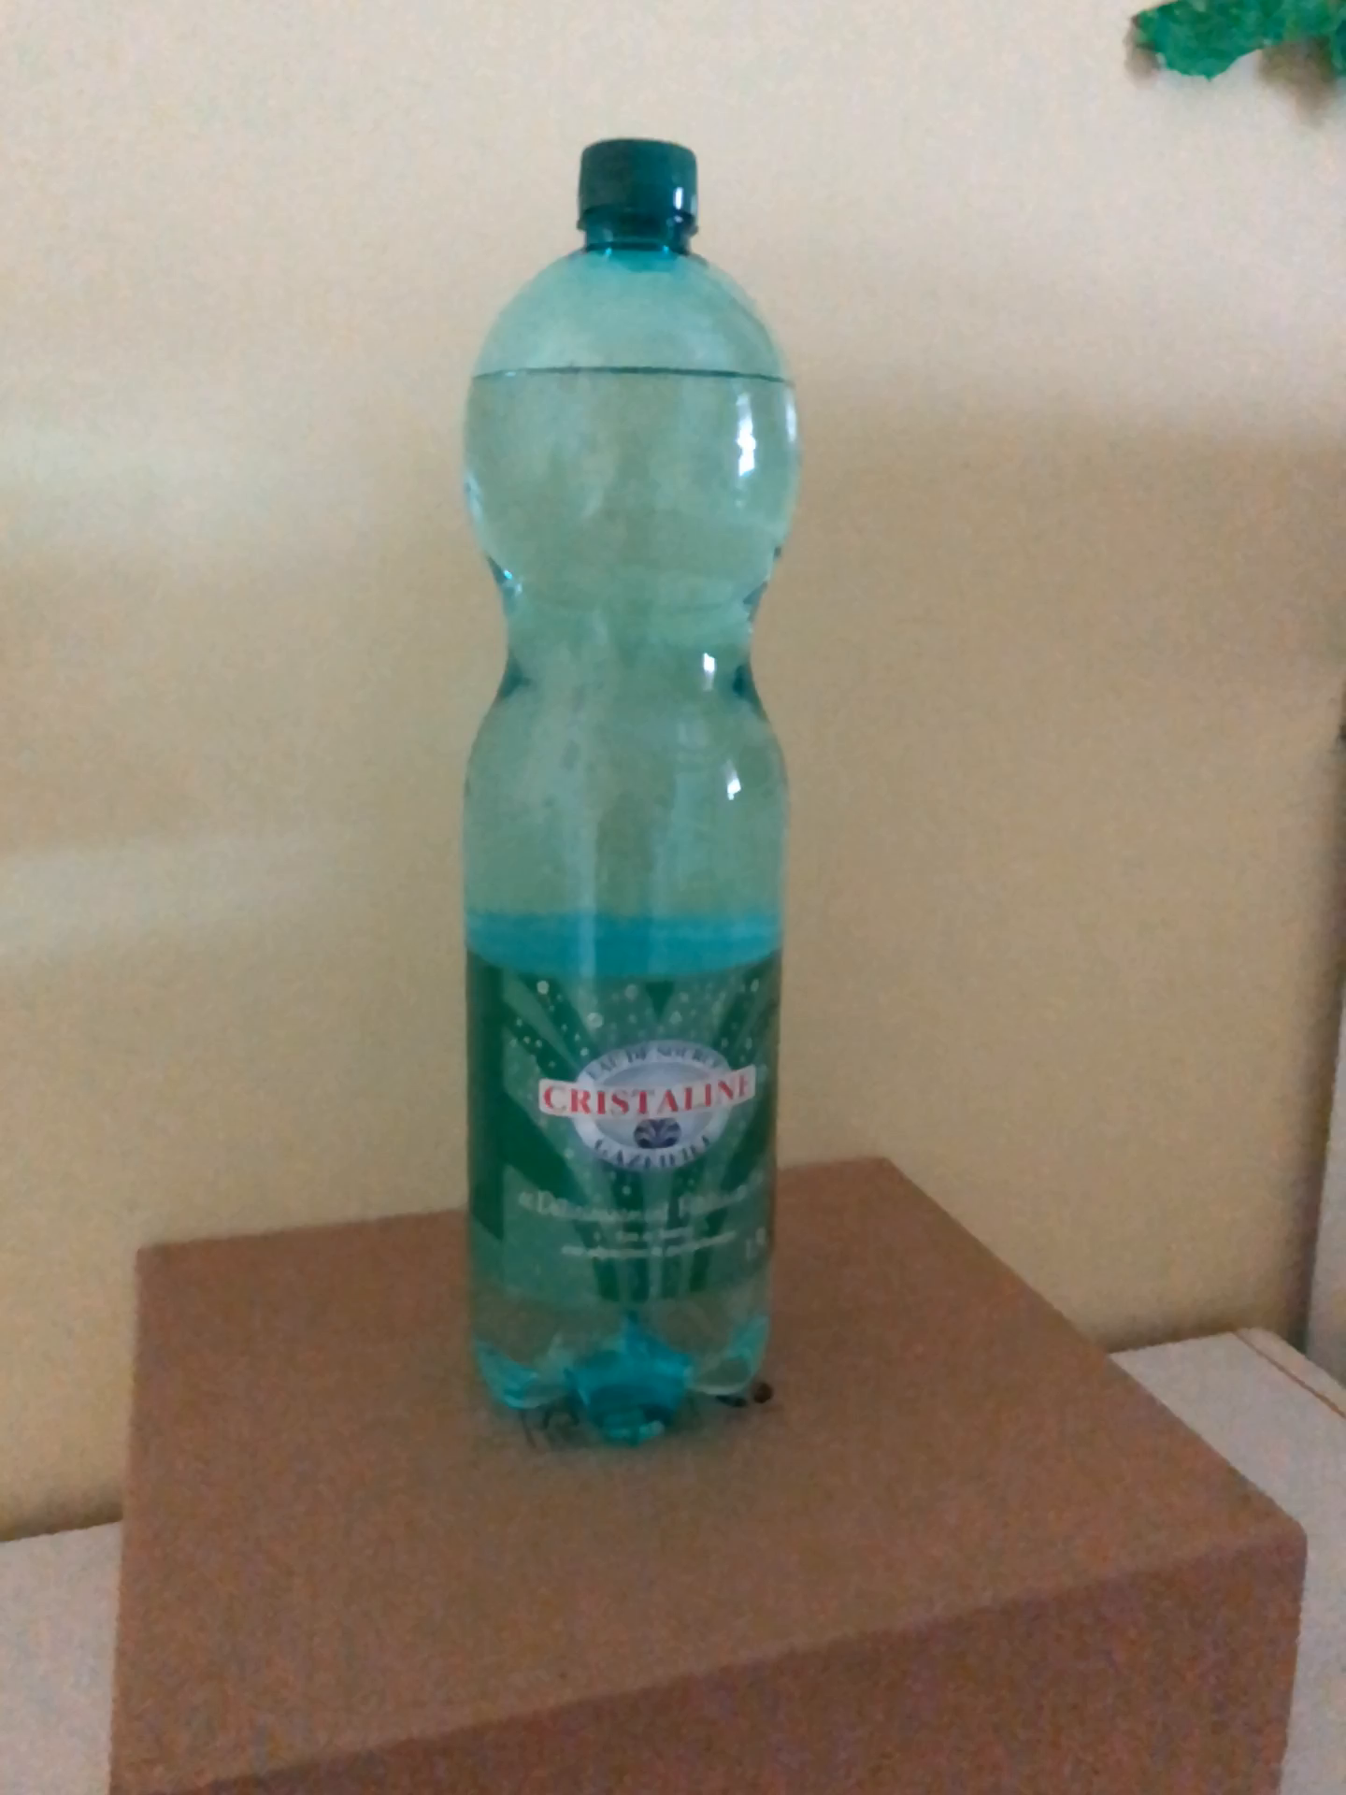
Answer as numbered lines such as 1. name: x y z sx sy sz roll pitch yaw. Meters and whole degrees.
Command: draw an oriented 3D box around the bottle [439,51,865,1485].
1. bottle: -0.012 -0.024 0.395 0.090 0.339 0.080 -2 13 -12
